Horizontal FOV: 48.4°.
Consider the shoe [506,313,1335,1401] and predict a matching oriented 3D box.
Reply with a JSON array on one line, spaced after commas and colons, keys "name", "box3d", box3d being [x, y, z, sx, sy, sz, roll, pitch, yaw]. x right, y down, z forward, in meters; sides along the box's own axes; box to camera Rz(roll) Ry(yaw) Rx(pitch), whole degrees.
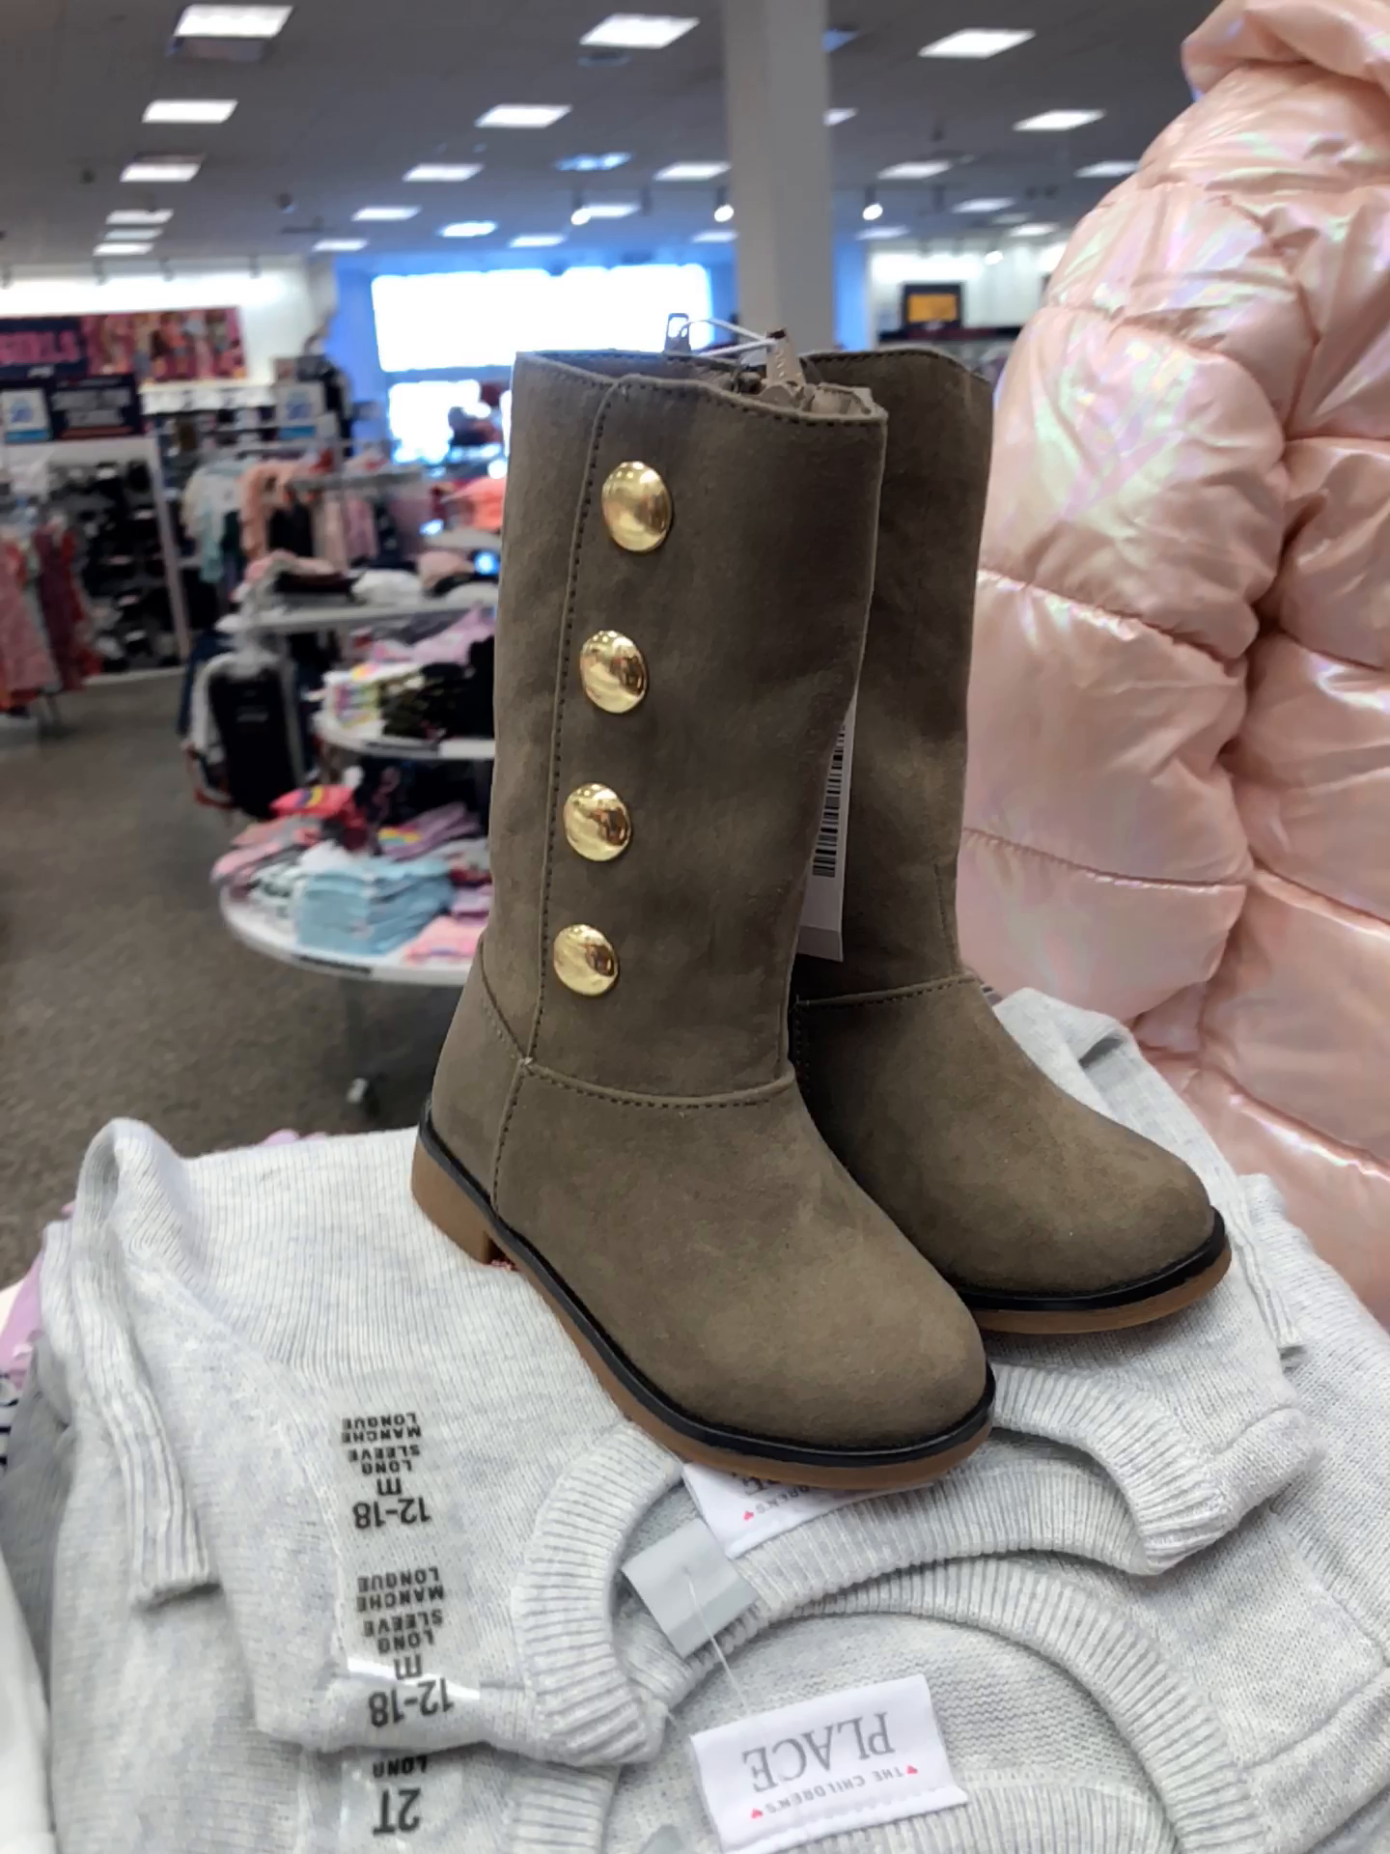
[{"name": "shoe", "box3d": [0.042, -0.024, 0.327, 0.070, 0.184, 0.148, -19, 23, -41]}]

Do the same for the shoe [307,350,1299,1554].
[{"name": "shoe", "box3d": [0.003, -0.010, 0.285, 0.070, 0.164, 0.155, -19, 34, -40]}]
